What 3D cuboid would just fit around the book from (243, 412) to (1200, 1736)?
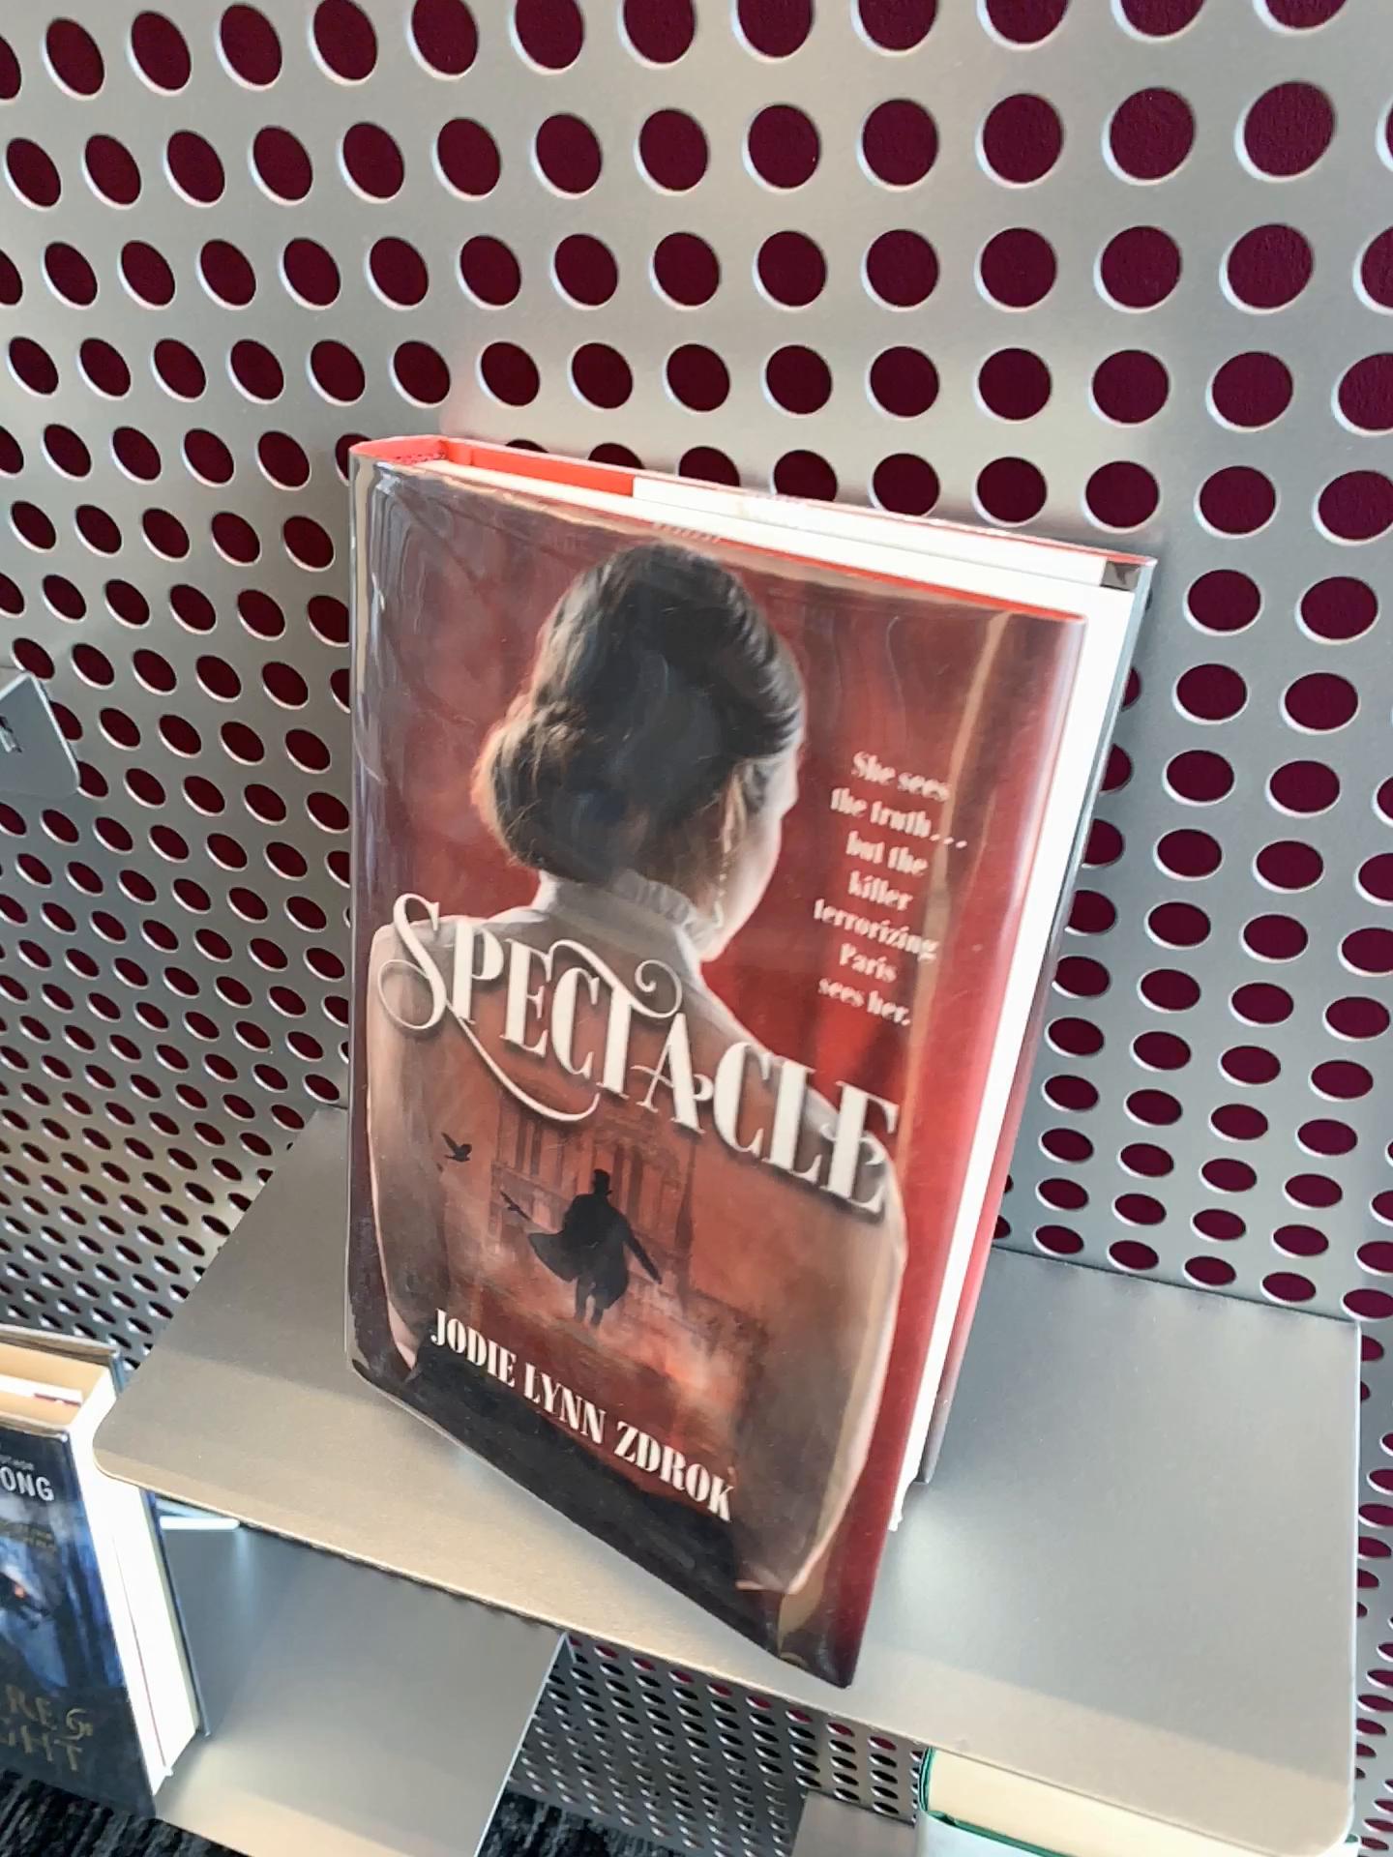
[{"bbox_3d":[-0.010,0.021,0.284,0.154,0.211,0.059,21,29,30],"label":"book"}]
